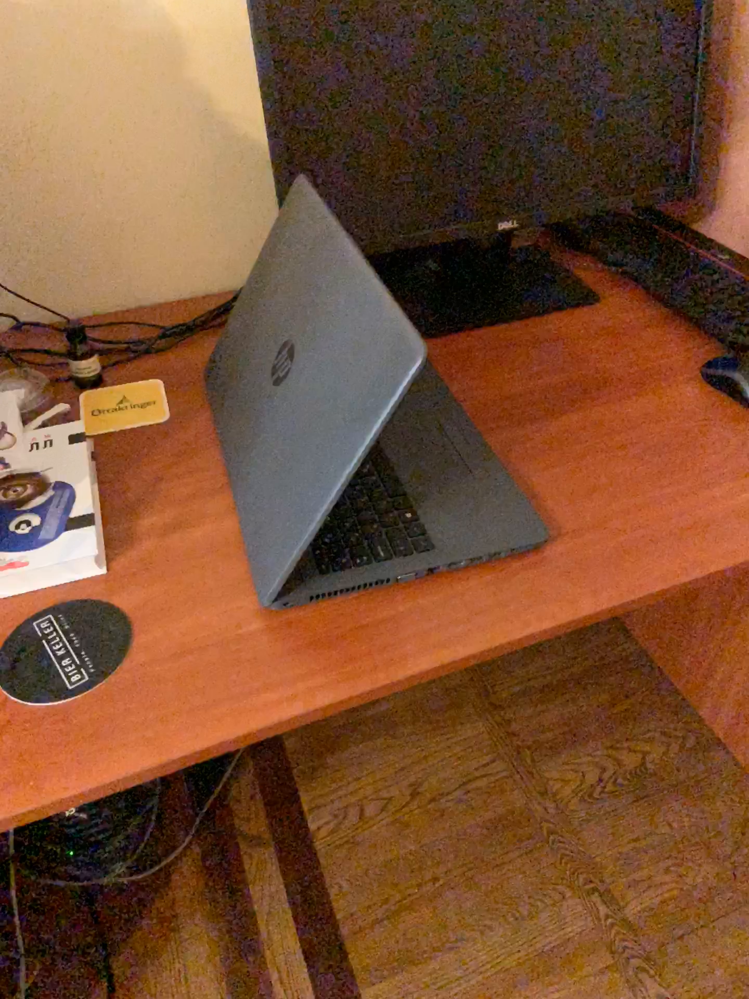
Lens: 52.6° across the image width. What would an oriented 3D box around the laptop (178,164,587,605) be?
[{"bbox_3d":[-0.021,-0.136,0.709,0.248,0.207,0.377,-12,41,-12],"label":"laptop"}]
